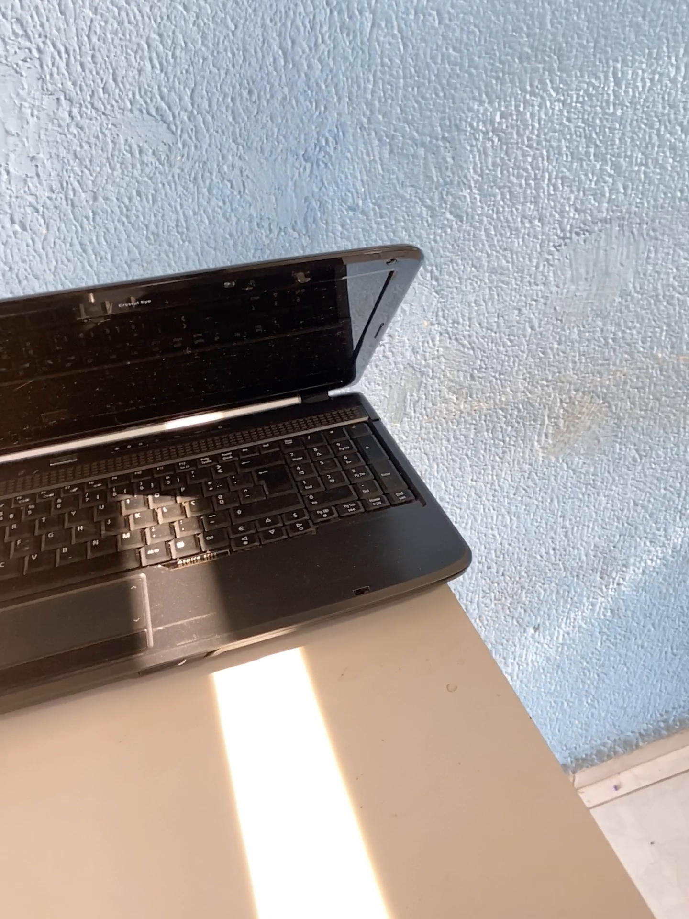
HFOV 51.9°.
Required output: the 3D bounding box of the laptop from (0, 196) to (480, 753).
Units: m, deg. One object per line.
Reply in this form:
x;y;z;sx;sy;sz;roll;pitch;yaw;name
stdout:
-0.139;-0.028;0.451;0.378;0.174;0.236;-13;34;-14;laptop
